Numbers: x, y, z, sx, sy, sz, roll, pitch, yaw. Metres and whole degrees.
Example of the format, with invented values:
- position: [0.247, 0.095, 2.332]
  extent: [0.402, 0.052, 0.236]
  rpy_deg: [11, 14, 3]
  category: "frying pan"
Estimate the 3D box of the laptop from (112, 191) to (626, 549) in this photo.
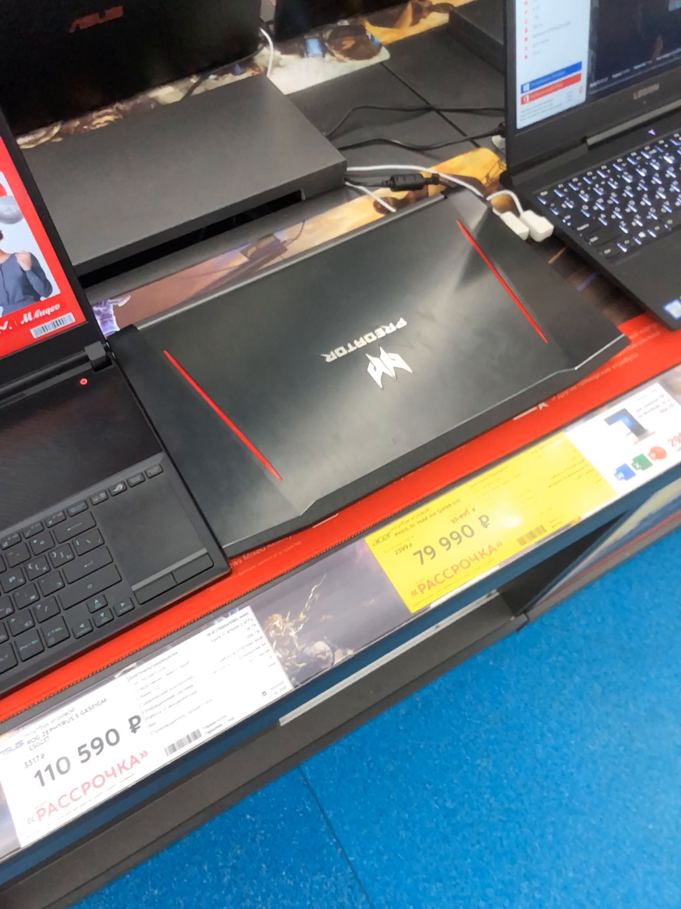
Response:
- position: [0.023, -0.097, 0.644]
  extent: [0.378, 0.004, 0.228]
  rpy_deg: [-27, 60, -15]
  category: "laptop"
